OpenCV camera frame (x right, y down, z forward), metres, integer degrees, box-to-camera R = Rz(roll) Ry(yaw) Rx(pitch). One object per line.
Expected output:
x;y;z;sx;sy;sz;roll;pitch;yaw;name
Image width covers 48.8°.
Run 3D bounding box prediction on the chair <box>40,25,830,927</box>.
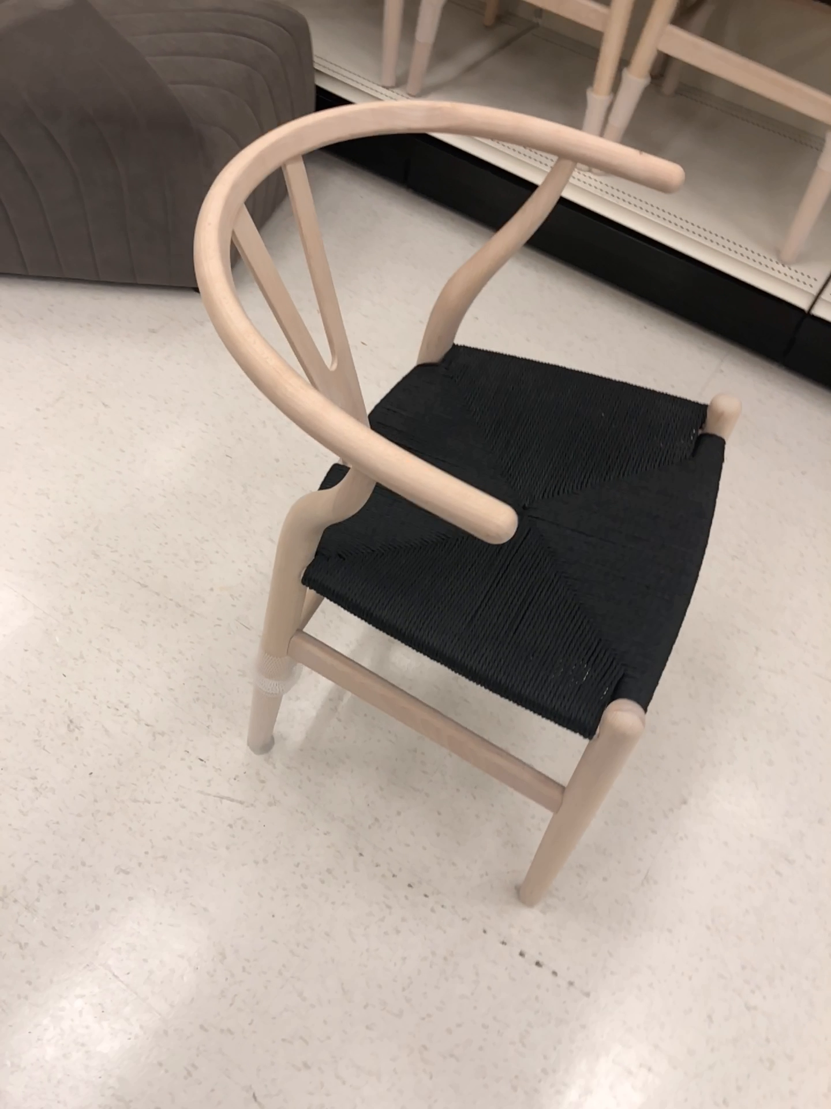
0.053;-0.054;1.073;0.556;0.729;0.560;23;53;10;chair
